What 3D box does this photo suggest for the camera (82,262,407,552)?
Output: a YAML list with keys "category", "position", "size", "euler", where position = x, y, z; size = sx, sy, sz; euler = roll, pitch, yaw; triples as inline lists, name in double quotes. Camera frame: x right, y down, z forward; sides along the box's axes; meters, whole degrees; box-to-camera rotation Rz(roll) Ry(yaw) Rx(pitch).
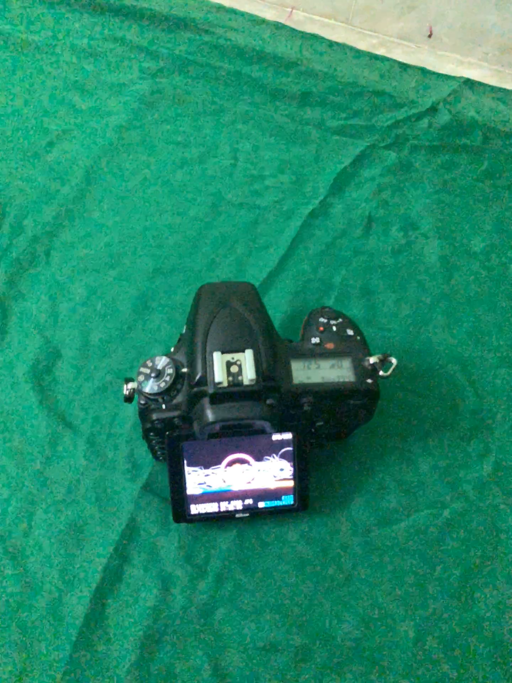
- category: "camera"
  position: [-0.011, 0.040, 0.302]
  size: [0.142, 0.100, 0.129]
  euler: [-4, 61, -4]
